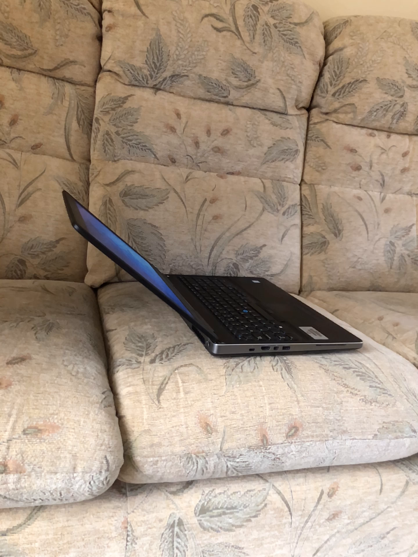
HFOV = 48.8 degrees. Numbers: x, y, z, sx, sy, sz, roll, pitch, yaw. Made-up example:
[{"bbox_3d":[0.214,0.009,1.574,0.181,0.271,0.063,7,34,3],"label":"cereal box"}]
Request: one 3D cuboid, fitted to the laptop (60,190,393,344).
[{"bbox_3d":[-0.012,-0.031,0.793,0.451,0.157,0.356,2,17,-20],"label":"laptop"}]
